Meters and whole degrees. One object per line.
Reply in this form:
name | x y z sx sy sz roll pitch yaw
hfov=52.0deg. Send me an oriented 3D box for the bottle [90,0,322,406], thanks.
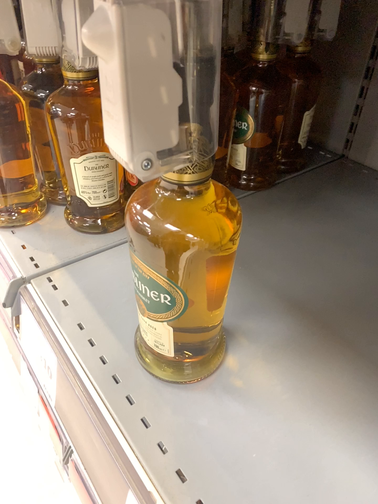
bottle | 0.000 -0.020 0.290 0.090 0.283 0.089 2 37 -1
